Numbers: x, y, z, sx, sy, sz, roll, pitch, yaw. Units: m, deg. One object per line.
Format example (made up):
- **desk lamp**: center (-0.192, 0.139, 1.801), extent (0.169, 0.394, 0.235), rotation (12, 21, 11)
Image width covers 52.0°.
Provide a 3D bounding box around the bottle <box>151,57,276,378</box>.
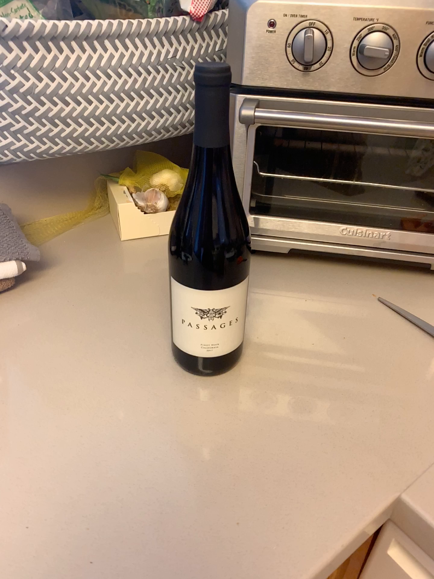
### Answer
- **bottle**: center (-0.006, -0.050, 0.398), extent (0.080, 0.268, 0.091), rotation (1, 34, -2)
